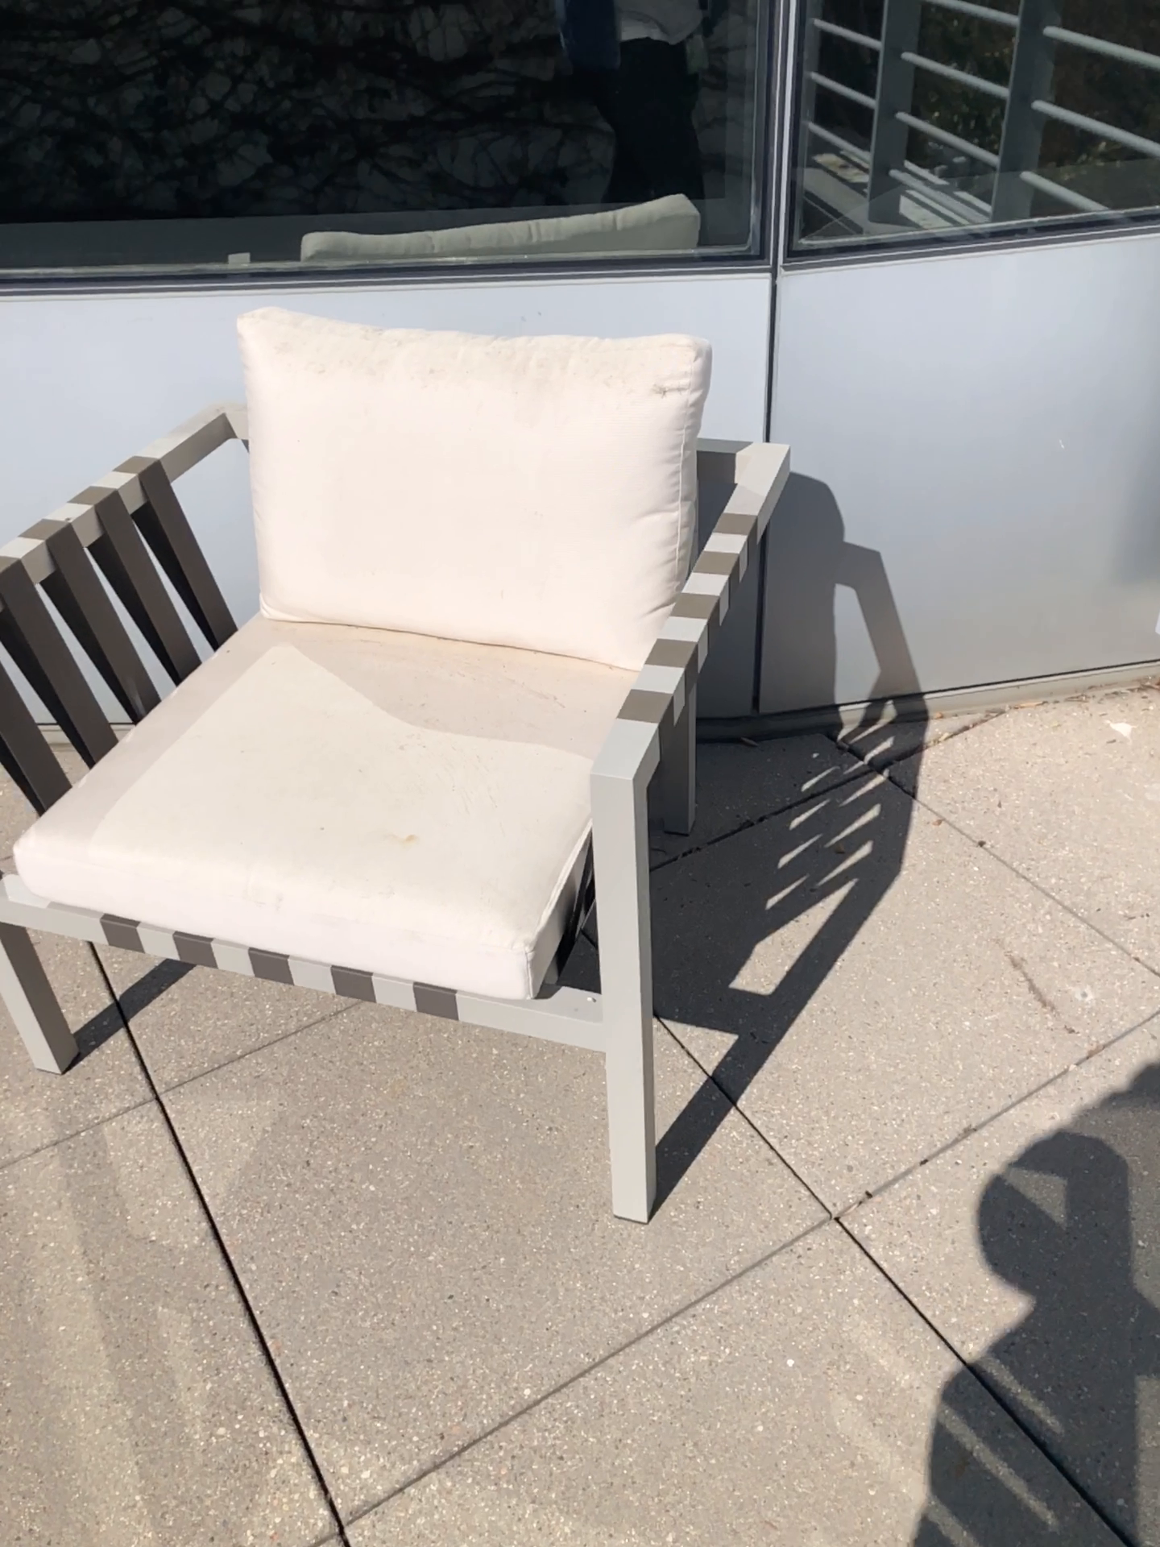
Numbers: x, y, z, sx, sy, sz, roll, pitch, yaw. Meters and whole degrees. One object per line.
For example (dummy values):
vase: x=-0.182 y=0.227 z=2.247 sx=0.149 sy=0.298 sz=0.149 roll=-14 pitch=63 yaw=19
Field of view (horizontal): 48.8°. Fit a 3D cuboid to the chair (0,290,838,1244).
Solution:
chair: x=-0.207 y=-0.083 z=1.571 sx=0.871 sy=0.736 sz=0.783 roll=9 pitch=38 yaw=16
